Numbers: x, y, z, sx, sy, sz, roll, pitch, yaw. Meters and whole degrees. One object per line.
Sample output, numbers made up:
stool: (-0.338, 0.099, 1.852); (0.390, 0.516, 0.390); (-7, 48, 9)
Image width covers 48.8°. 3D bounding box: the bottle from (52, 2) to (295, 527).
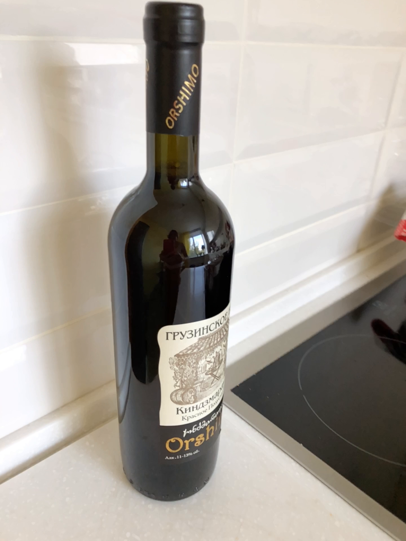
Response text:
bottle: (-0.020, 0.010, 0.277); (0.080, 0.298, 0.080); (2, 27, -1)
